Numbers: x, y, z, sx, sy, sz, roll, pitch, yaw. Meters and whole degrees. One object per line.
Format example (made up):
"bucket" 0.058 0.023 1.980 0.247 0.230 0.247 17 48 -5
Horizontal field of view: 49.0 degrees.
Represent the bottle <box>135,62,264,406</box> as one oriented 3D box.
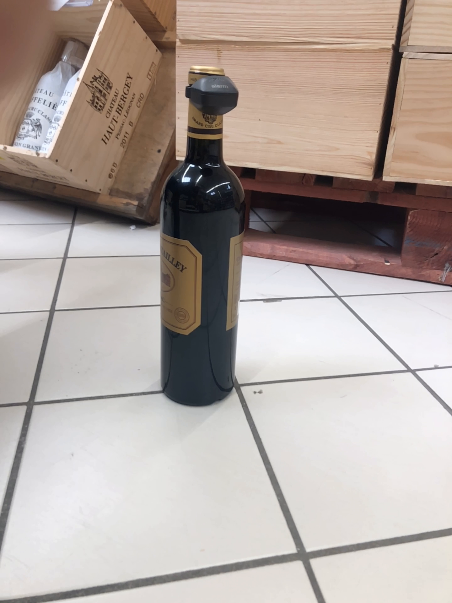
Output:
"bottle" -0.027 -0.053 0.447 0.090 0.288 0.090 2 24 -1
